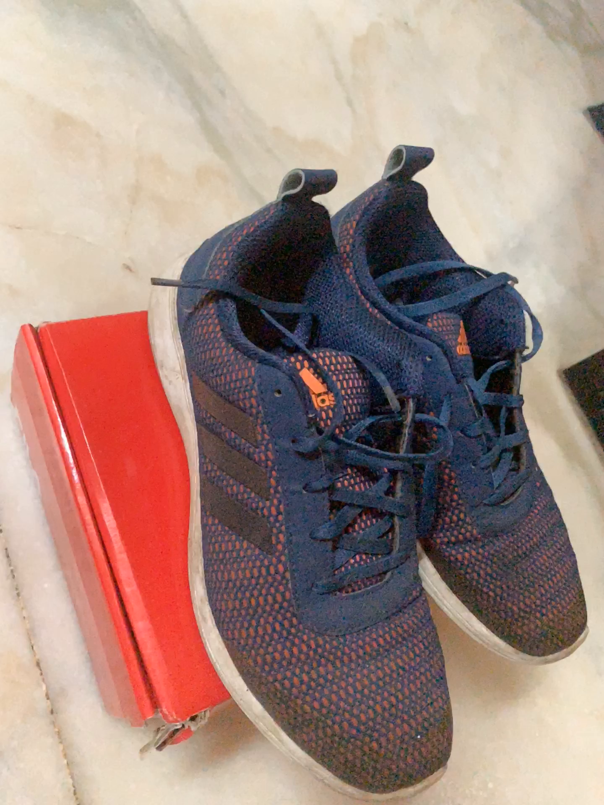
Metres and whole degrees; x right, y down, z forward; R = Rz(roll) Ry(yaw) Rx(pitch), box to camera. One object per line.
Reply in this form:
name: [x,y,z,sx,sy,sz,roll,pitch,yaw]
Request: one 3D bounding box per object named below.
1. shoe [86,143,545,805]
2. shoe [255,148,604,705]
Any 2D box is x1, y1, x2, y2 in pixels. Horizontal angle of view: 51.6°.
shoe: [-0.012,0.032,0.310,0.100,0.099,0.301,-9,72,-33]
shoe: [0.089,0.003,0.344,0.100,0.080,0.280,-18,77,-35]
